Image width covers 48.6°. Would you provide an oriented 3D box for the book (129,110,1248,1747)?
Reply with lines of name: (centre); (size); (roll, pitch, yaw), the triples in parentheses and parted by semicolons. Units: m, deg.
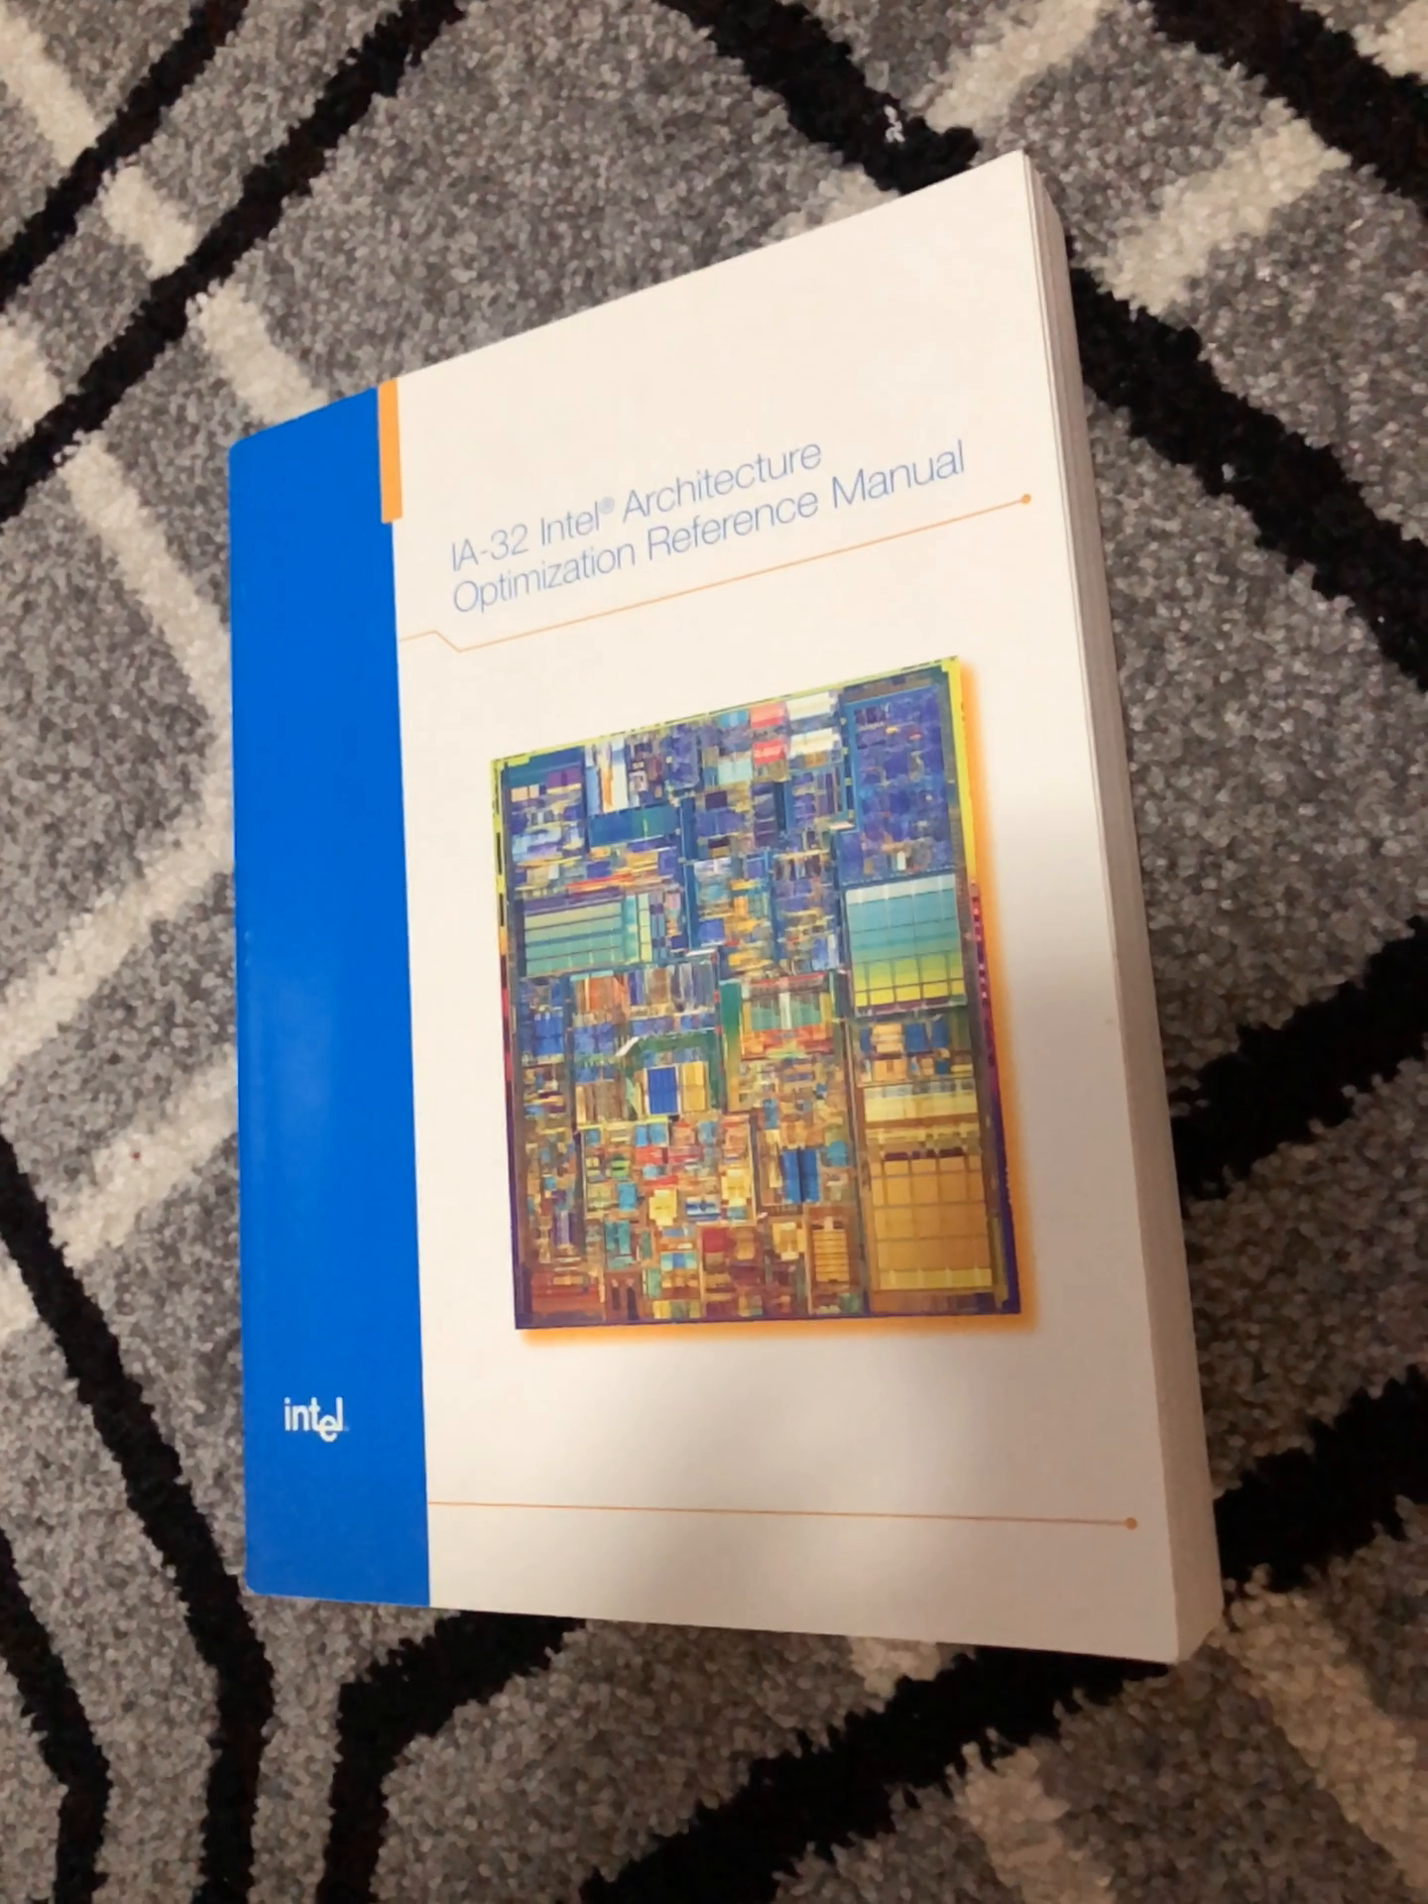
book: (-0.018, 0.001, 0.255); (0.171, 0.040, 0.210); (-8, 79, 27)
